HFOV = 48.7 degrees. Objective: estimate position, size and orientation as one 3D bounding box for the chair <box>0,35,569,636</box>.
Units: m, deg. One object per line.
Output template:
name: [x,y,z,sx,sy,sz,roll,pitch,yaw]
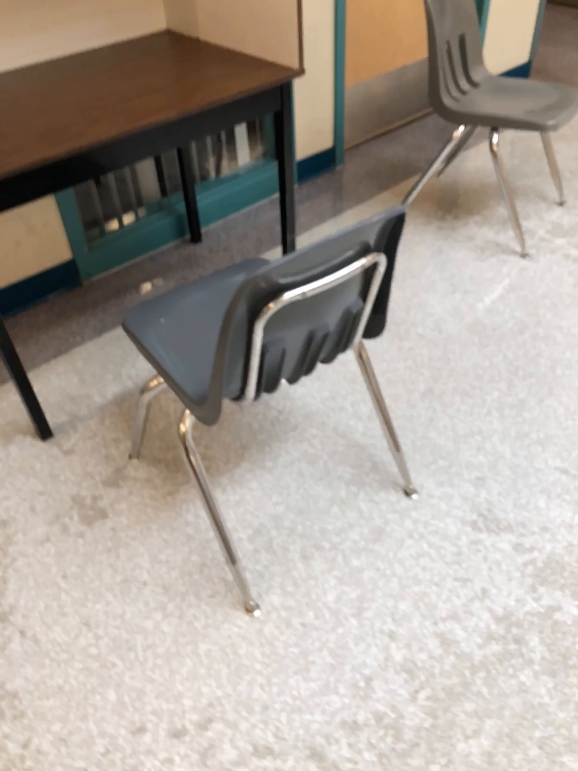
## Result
chair: [-0.035,-0.125,1.145,0.591,0.695,0.613,-28,48,-25]
